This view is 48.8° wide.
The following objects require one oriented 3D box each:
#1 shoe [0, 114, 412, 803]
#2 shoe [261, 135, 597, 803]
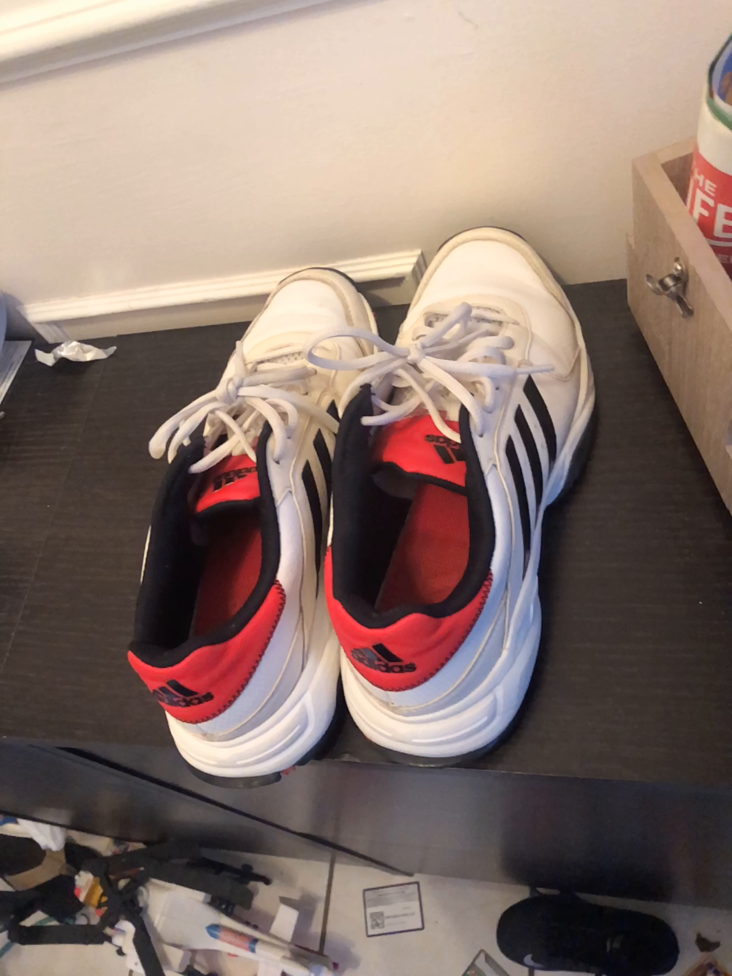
[{"bbox_3d":[-0.056,-0.024,0.394,0.110,0.109,0.311,-4,59,18],"label":"shoe"},{"bbox_3d":[0.051,-0.022,0.402,0.110,0.099,0.311,-1,60,20],"label":"shoe"}]
